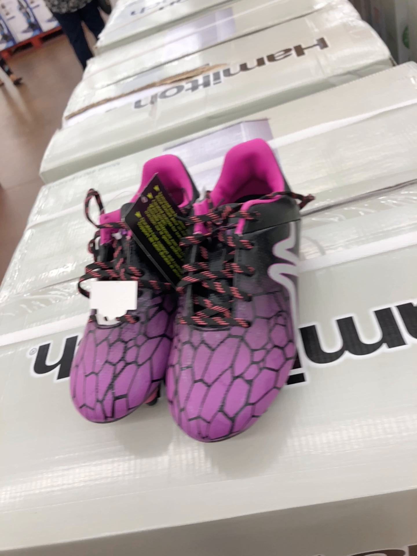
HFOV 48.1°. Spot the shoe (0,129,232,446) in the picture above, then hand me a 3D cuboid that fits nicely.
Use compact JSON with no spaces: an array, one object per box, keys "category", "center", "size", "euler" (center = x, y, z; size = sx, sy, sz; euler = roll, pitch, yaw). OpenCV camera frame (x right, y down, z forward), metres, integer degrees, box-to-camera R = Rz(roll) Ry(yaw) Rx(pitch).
[{"category":"shoe","center":[-0.055,-0.005,0.326],"size":[0.080,0.080,0.210],"euler":[-3,46,24]}]

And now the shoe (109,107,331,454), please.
[{"category":"shoe","center":[0.026,-0.011,0.297],"size":[0.080,0.080,0.210],"euler":[-4,46,23]}]
